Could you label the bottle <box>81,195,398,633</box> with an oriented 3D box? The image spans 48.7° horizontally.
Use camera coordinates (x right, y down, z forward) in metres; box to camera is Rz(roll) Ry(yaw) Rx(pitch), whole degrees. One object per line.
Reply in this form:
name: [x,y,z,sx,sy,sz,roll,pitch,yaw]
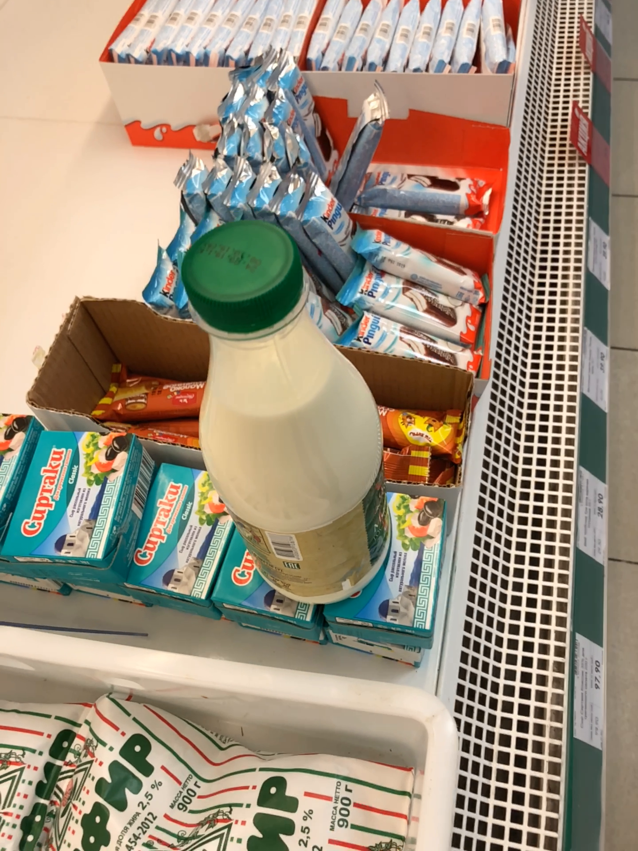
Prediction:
bottle: [-0.013,0.017,0.337,0.085,0.238,0.081,-3,58,5]
